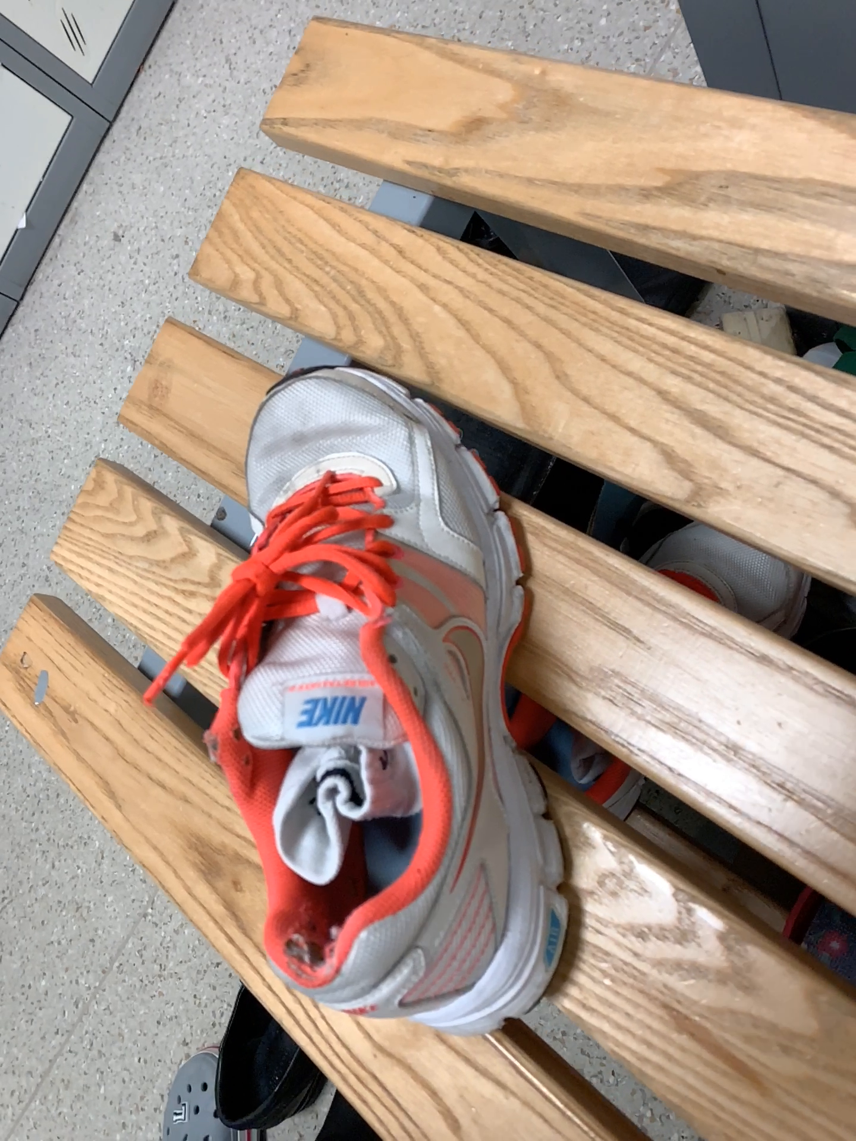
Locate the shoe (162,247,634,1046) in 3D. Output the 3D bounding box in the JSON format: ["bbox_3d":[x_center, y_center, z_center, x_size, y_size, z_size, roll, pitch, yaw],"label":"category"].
[{"bbox_3d":[-0.018,0.026,0.318,0.110,0.079,0.242,-19,71,26],"label":"shoe"}]
